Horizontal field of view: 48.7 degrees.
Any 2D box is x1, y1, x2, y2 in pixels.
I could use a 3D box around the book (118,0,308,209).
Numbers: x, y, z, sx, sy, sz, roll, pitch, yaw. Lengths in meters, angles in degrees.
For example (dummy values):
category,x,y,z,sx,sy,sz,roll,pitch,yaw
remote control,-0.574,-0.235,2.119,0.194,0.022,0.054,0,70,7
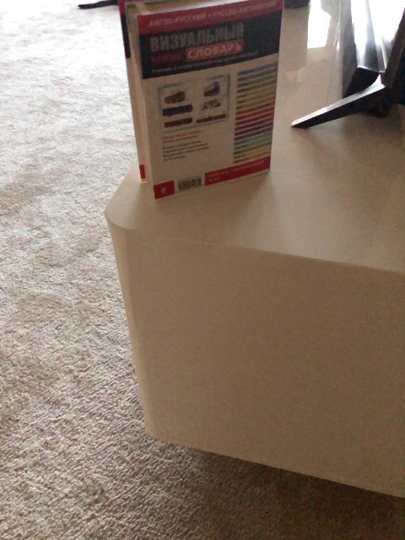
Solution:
category,x,y,z,sx,sy,sz,roll,pitch,yaw
book,0.008,-0.166,0.443,0.150,0.179,0.060,-16,47,-16
